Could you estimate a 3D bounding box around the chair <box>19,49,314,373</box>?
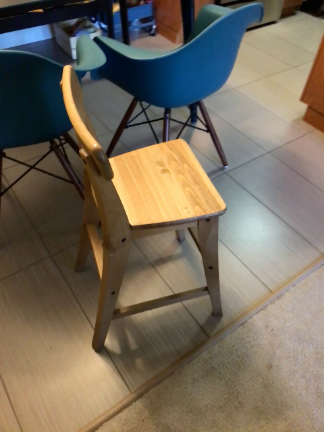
[{"bbox_3d":[-0.026,0.003,0.980,0.491,0.685,0.442,-15,47,-15],"label":"chair"}]
